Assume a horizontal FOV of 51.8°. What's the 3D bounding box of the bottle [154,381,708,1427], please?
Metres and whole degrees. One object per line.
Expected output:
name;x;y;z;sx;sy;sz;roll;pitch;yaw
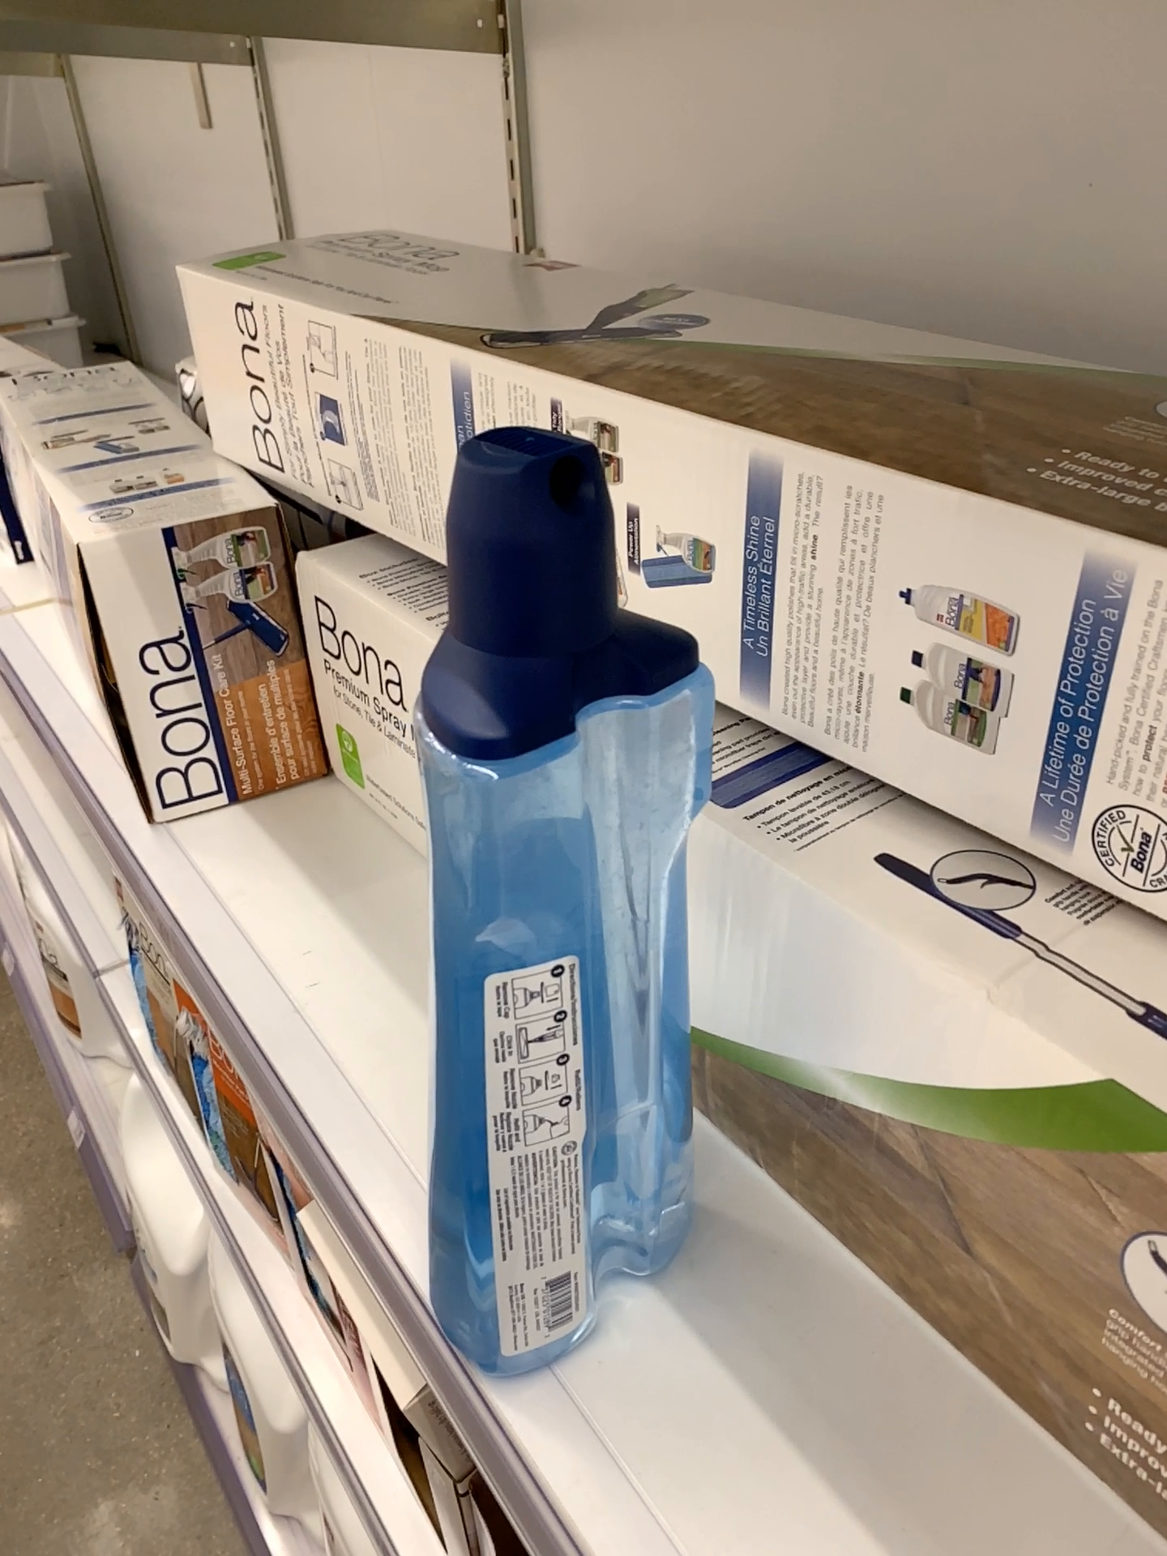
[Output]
bottle;-0.029;0.043;0.348;0.080;0.279;0.100;23;38;36
